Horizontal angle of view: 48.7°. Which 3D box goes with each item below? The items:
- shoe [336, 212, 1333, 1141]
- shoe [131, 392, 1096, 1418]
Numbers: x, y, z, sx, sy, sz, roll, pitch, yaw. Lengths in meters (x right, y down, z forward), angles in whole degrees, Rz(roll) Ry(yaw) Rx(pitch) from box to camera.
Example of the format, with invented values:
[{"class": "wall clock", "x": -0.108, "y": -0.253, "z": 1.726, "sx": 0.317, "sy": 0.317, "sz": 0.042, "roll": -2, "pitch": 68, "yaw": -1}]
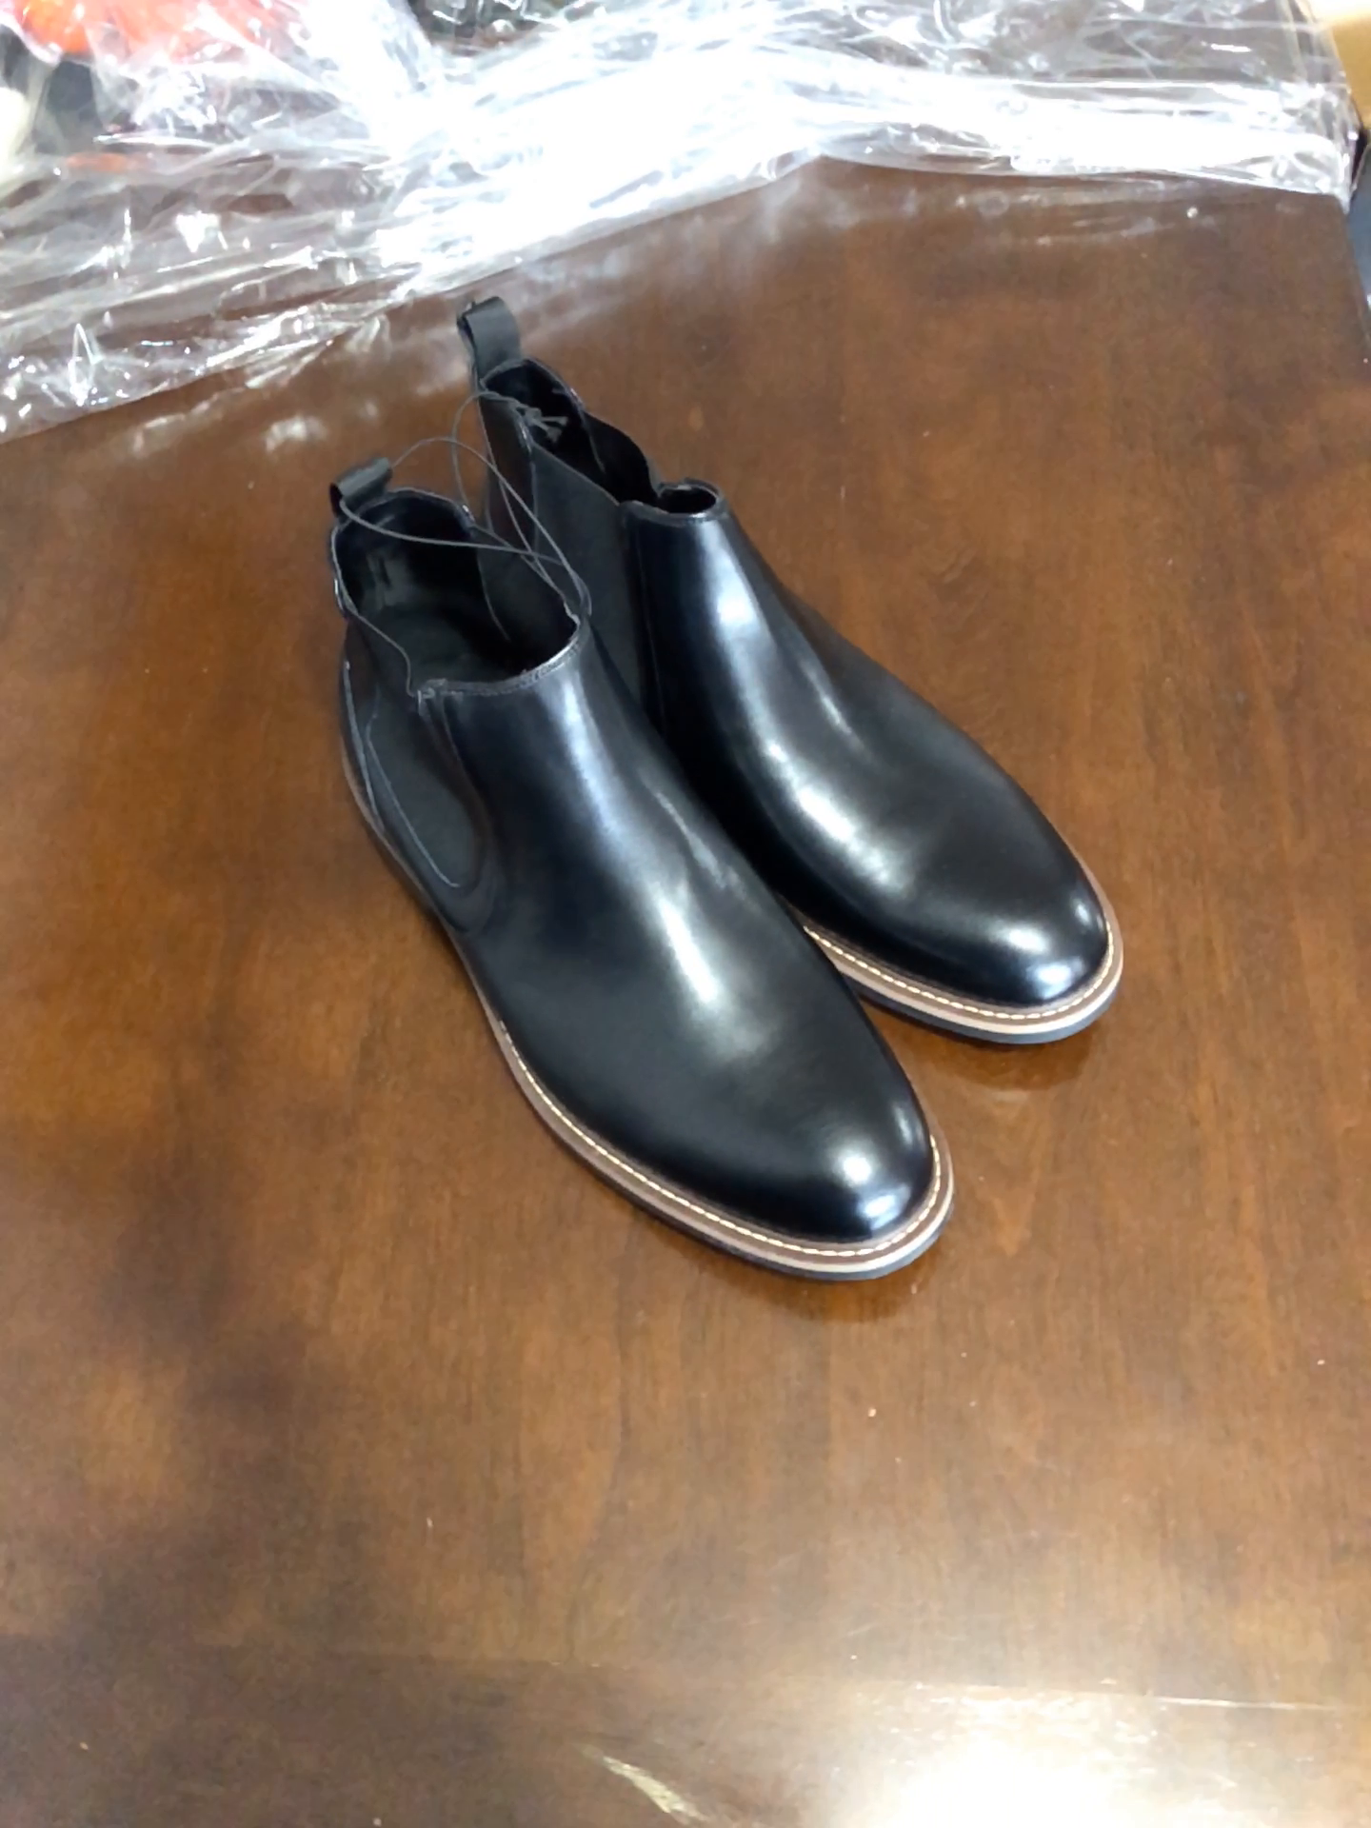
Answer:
[{"class": "shoe", "x": 0.039, "y": -0.087, "z": 0.541, "sx": 0.300, "sy": 0.170, "sz": 0.120, "roll": 38, "pitch": 69, "yaw": 23}, {"class": "shoe", "x": -0.030, "y": -0.006, "z": 0.512, "sx": 0.120, "sy": 0.170, "sz": 0.300, "roll": -37, "pitch": 64, "yaw": -17}]
